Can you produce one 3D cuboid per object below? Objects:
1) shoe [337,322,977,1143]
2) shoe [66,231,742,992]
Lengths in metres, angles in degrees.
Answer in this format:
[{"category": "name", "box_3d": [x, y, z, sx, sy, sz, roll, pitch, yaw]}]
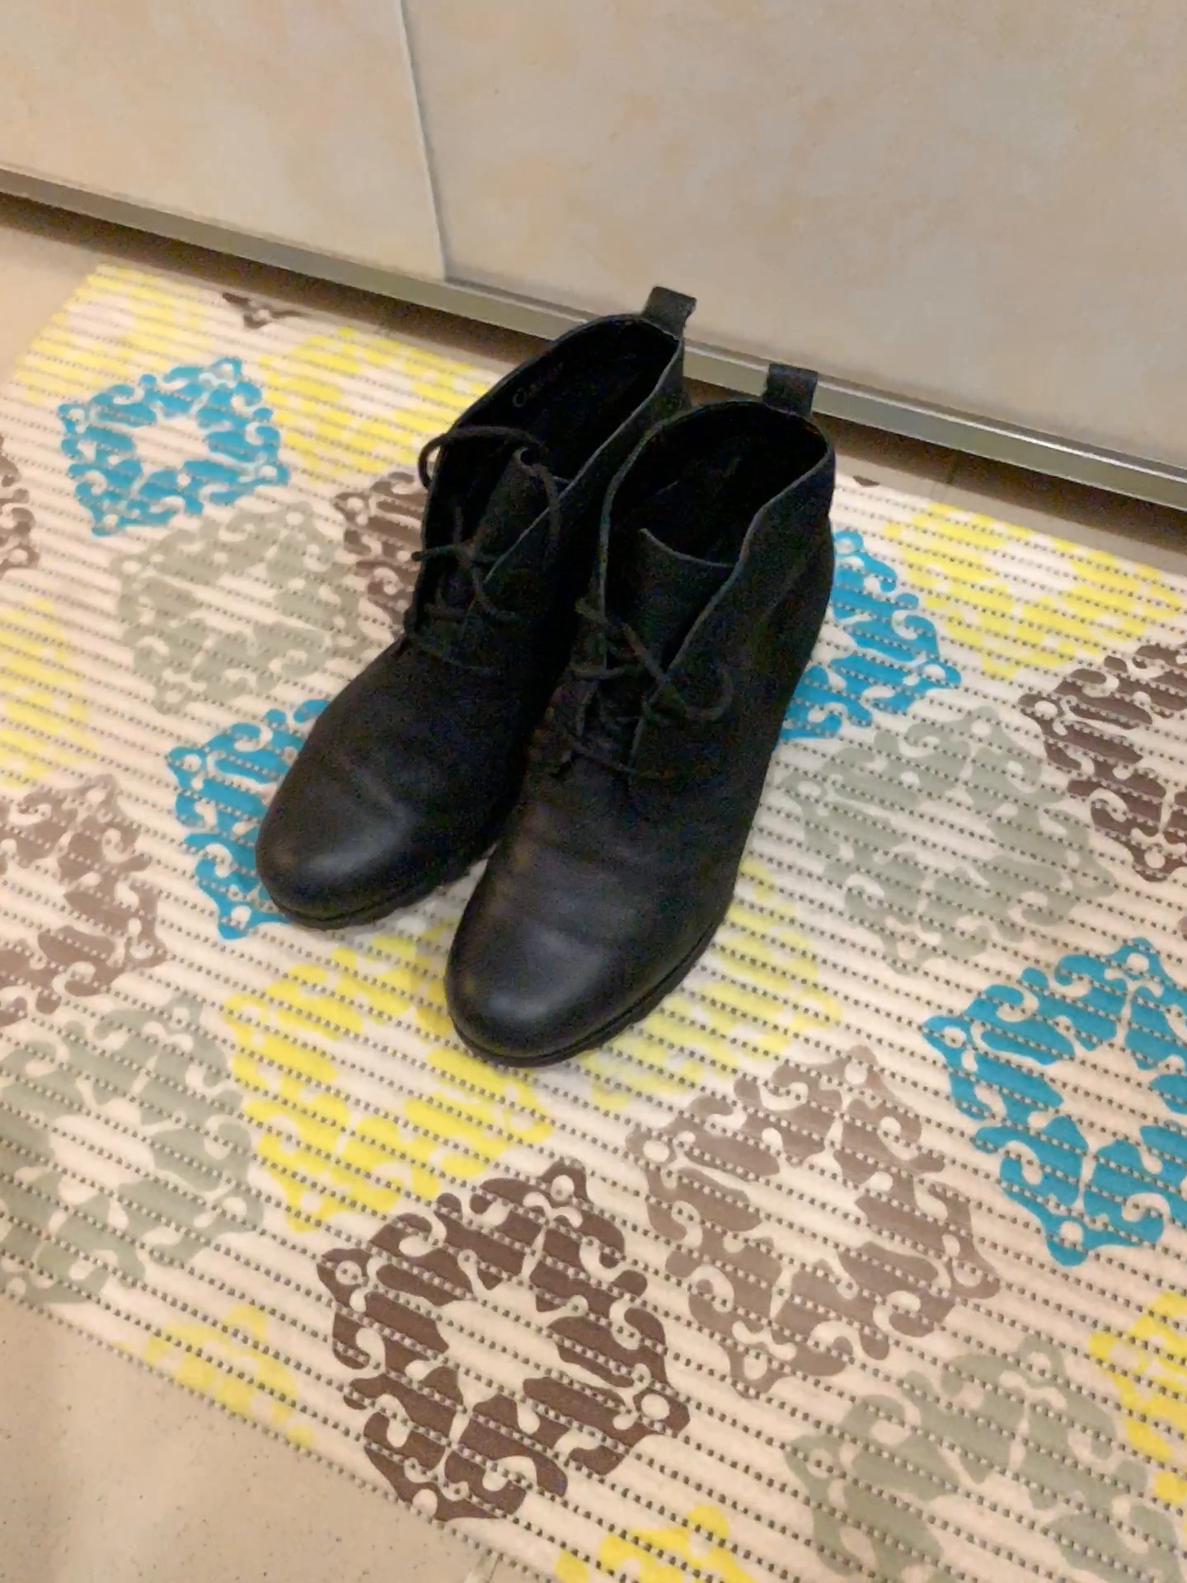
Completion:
[{"category": "shoe", "box_3d": [0.030, -0.017, 0.429, 0.090, 0.150, 0.230, 26, 66, 15]}, {"category": "shoe", "box_3d": [-0.051, -0.064, 0.459, 0.090, 0.150, 0.230, 32, 68, 18]}]
